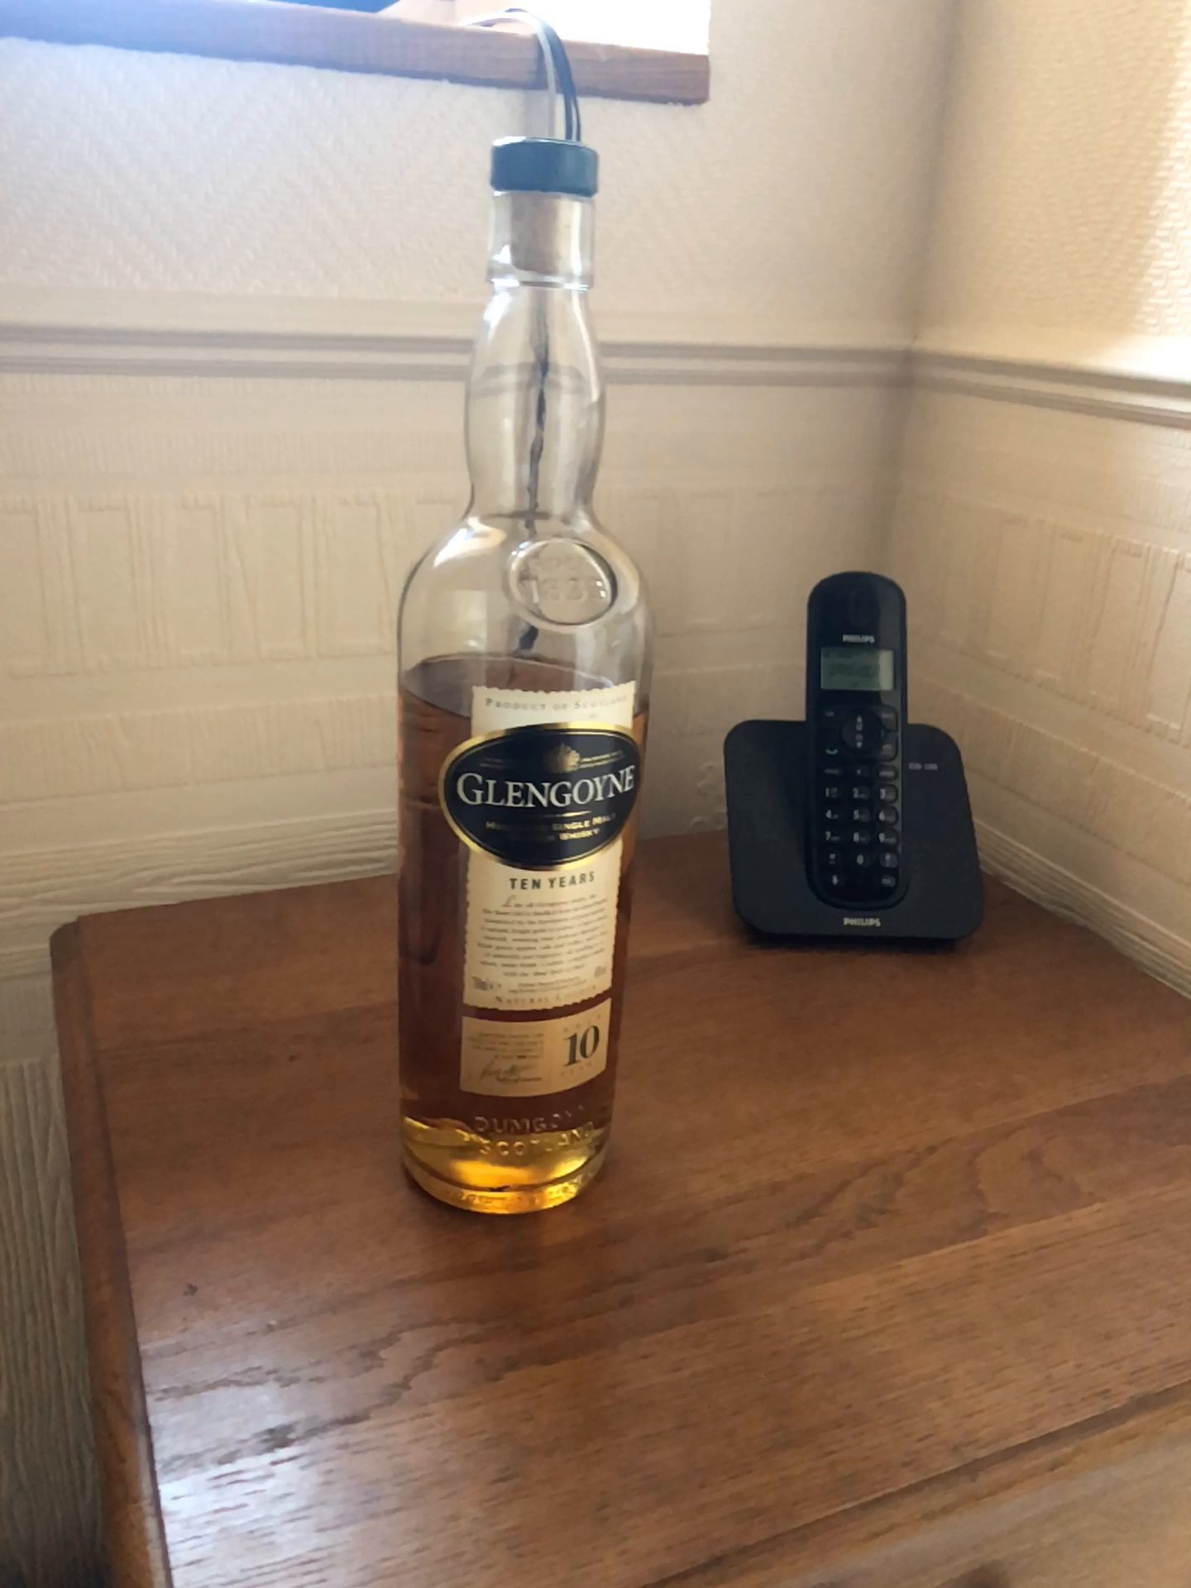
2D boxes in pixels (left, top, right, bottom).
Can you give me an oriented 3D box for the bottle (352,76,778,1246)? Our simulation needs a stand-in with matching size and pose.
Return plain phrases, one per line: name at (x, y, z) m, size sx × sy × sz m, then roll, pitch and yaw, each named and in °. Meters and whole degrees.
bottle at (-0.018, -0.028, 0.397) m, size 0.090 × 0.318 × 0.080 m, roll -5°, pitch 22°, yaw -19°
